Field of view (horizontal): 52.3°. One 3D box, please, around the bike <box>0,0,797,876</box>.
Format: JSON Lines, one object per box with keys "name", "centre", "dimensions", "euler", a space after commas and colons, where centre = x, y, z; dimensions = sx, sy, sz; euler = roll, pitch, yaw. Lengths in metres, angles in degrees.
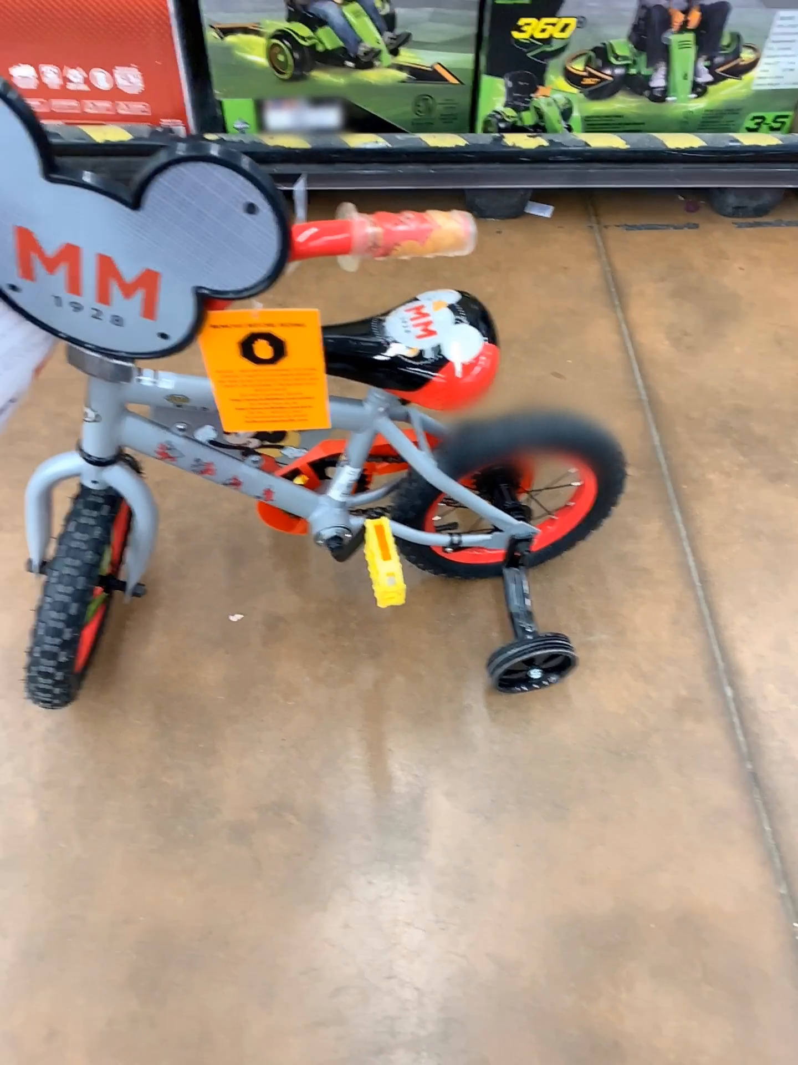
{"name": "bike", "centre": [-0.077, -0.106, 0.794], "dimensions": [0.641, 0.689, 0.453], "euler": [-17, 55, -9]}
